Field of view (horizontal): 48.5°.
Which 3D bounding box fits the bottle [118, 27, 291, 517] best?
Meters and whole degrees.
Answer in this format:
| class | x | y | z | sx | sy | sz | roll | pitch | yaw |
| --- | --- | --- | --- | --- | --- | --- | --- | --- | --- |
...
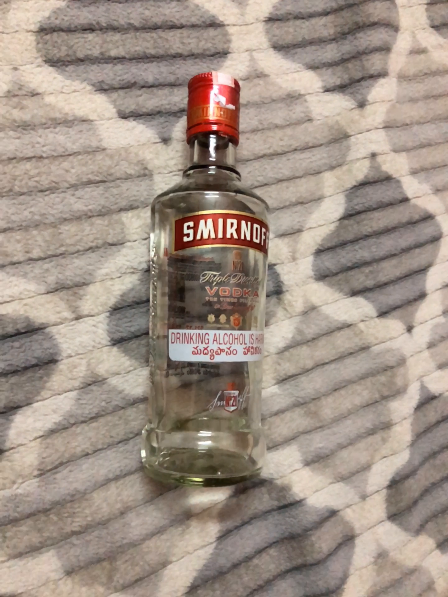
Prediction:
| class | x | y | z | sx | sy | sz | roll | pitch | yaw |
| --- | --- | --- | --- | --- | --- | --- | --- | --- | --- |
| bottle | -0.010 | -0.014 | 0.274 | 0.070 | 0.060 | 0.230 | 4 | 83 | -29 |
